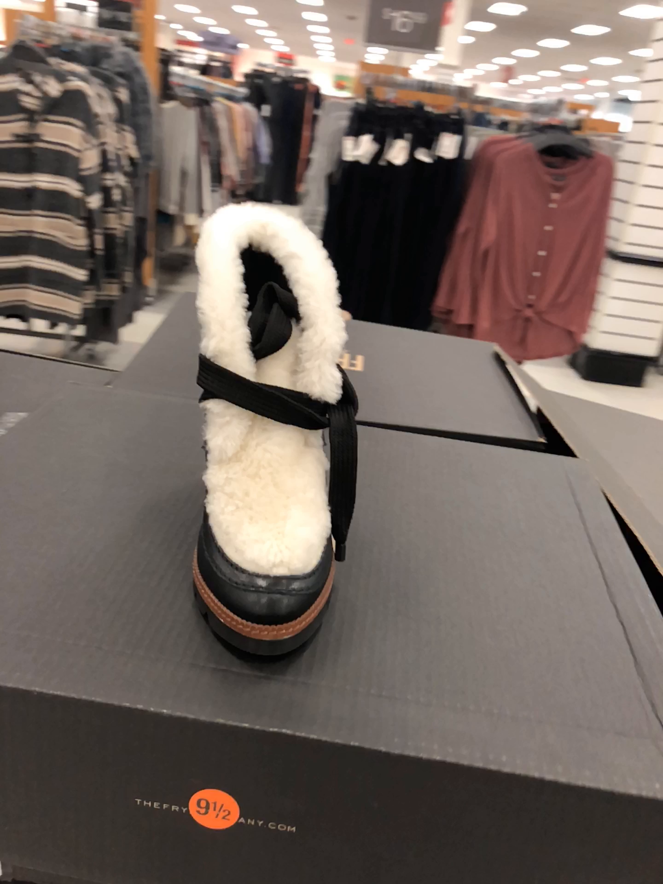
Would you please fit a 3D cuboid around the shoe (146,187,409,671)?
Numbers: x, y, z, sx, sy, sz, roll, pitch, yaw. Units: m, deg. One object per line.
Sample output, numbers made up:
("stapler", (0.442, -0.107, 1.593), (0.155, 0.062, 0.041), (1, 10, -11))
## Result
("shoe", (-0.042, -0.030, 0.448), (0.101, 0.208, 0.248), (4, 23, -8))
